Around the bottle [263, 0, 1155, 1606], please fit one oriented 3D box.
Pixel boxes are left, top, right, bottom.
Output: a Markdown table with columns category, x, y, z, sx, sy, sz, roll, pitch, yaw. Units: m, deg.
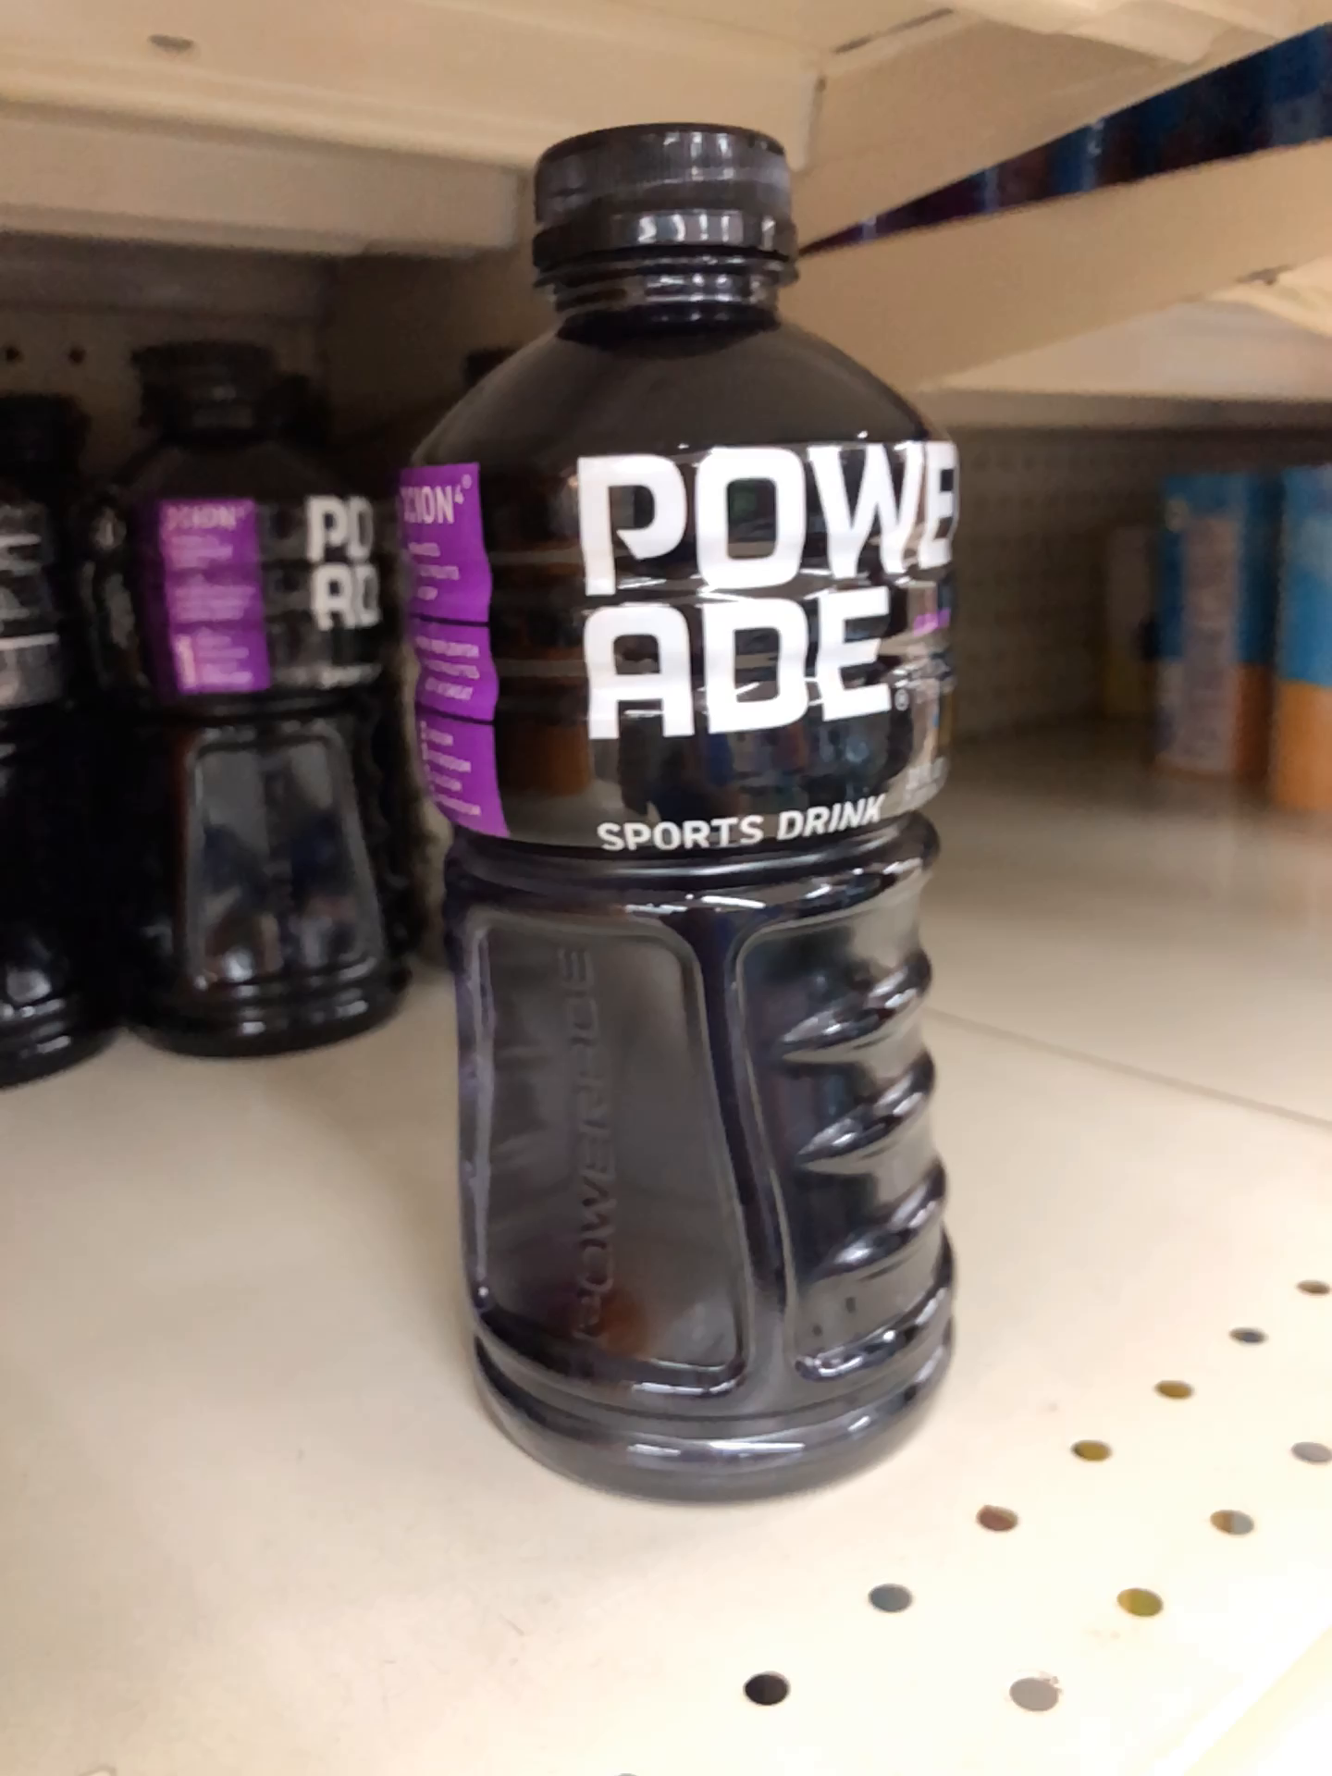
| category | x | y | z | sx | sy | sz | roll | pitch | yaw |
| --- | --- | --- | --- | --- | --- | --- | --- | --- | --- |
| bottle | 0.009 | -0.017 | 0.251 | 0.098 | 0.210 | 0.090 | -1 | 14 | 0 |
